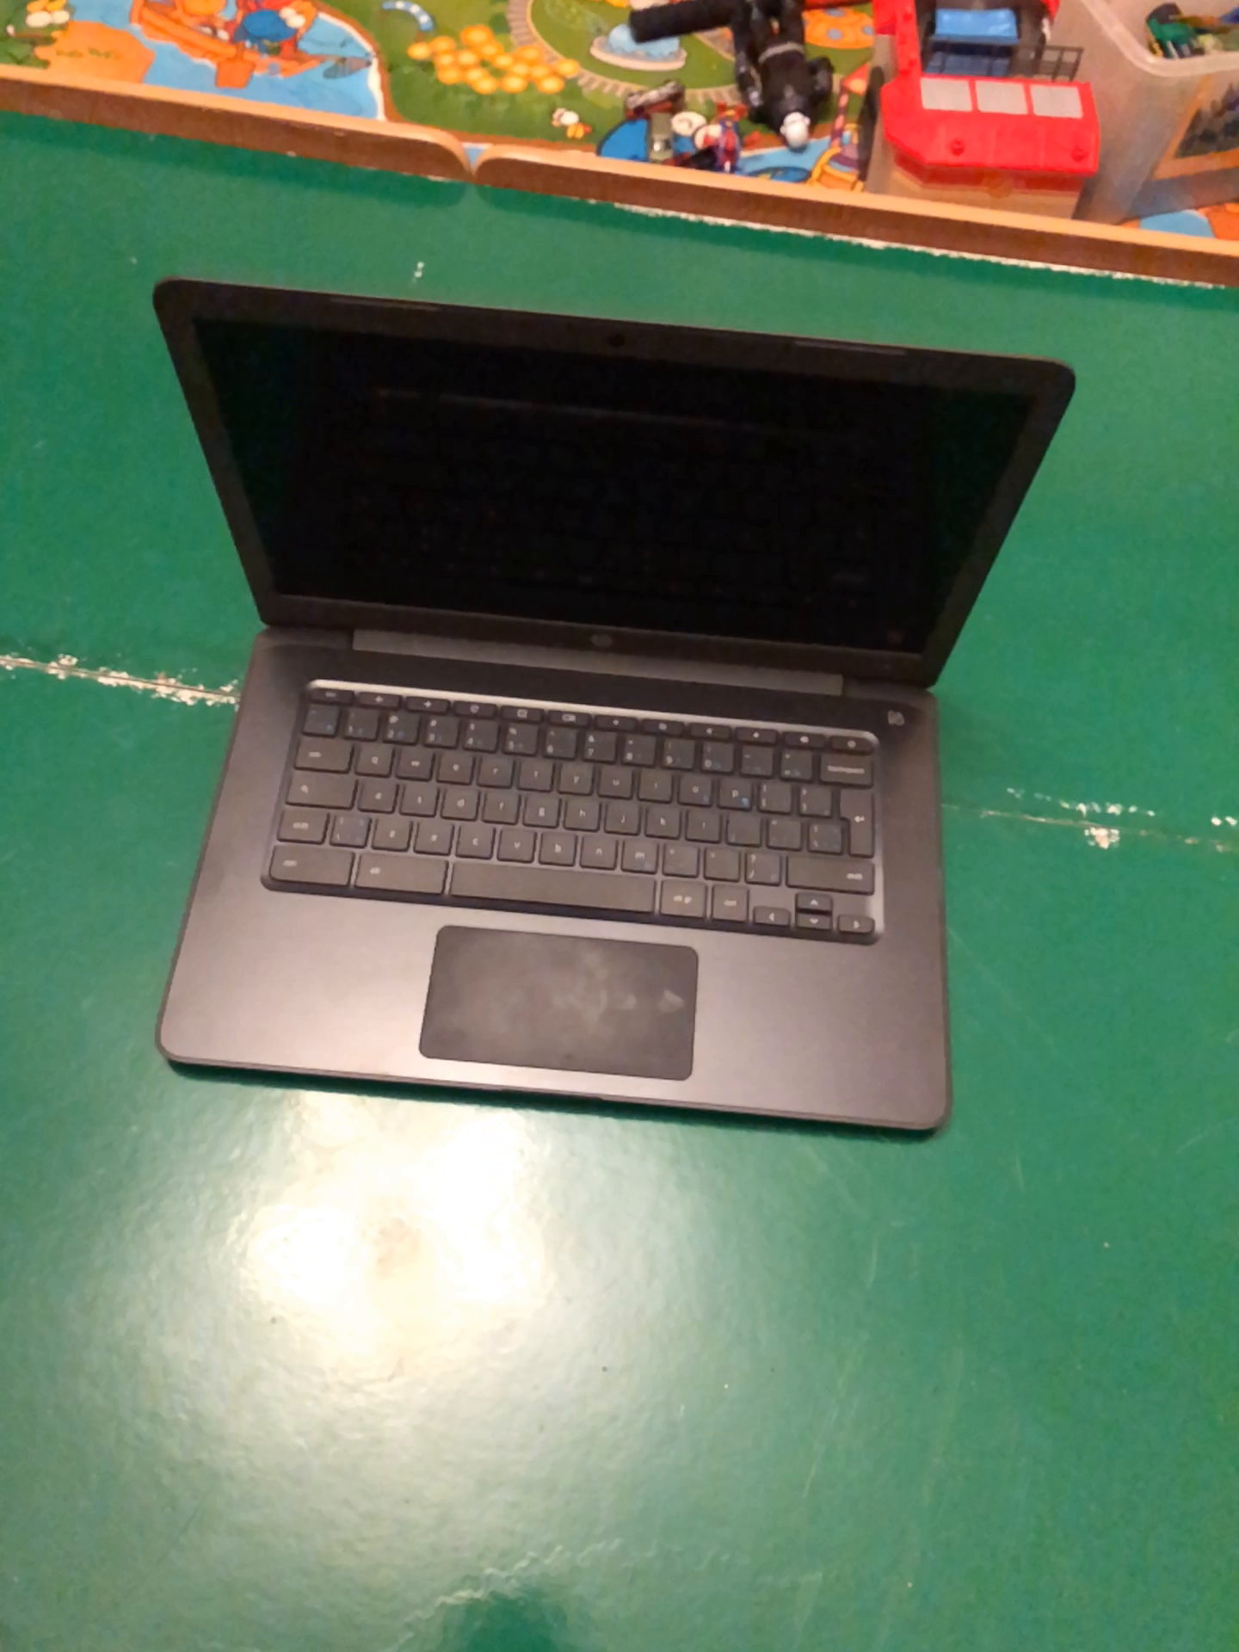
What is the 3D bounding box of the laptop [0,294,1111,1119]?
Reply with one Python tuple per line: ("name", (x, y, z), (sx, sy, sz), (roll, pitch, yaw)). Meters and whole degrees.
("laptop", (-0.014, -0.035, 0.523), (0.317, 0.204, 0.211), (5, 61, 1))
